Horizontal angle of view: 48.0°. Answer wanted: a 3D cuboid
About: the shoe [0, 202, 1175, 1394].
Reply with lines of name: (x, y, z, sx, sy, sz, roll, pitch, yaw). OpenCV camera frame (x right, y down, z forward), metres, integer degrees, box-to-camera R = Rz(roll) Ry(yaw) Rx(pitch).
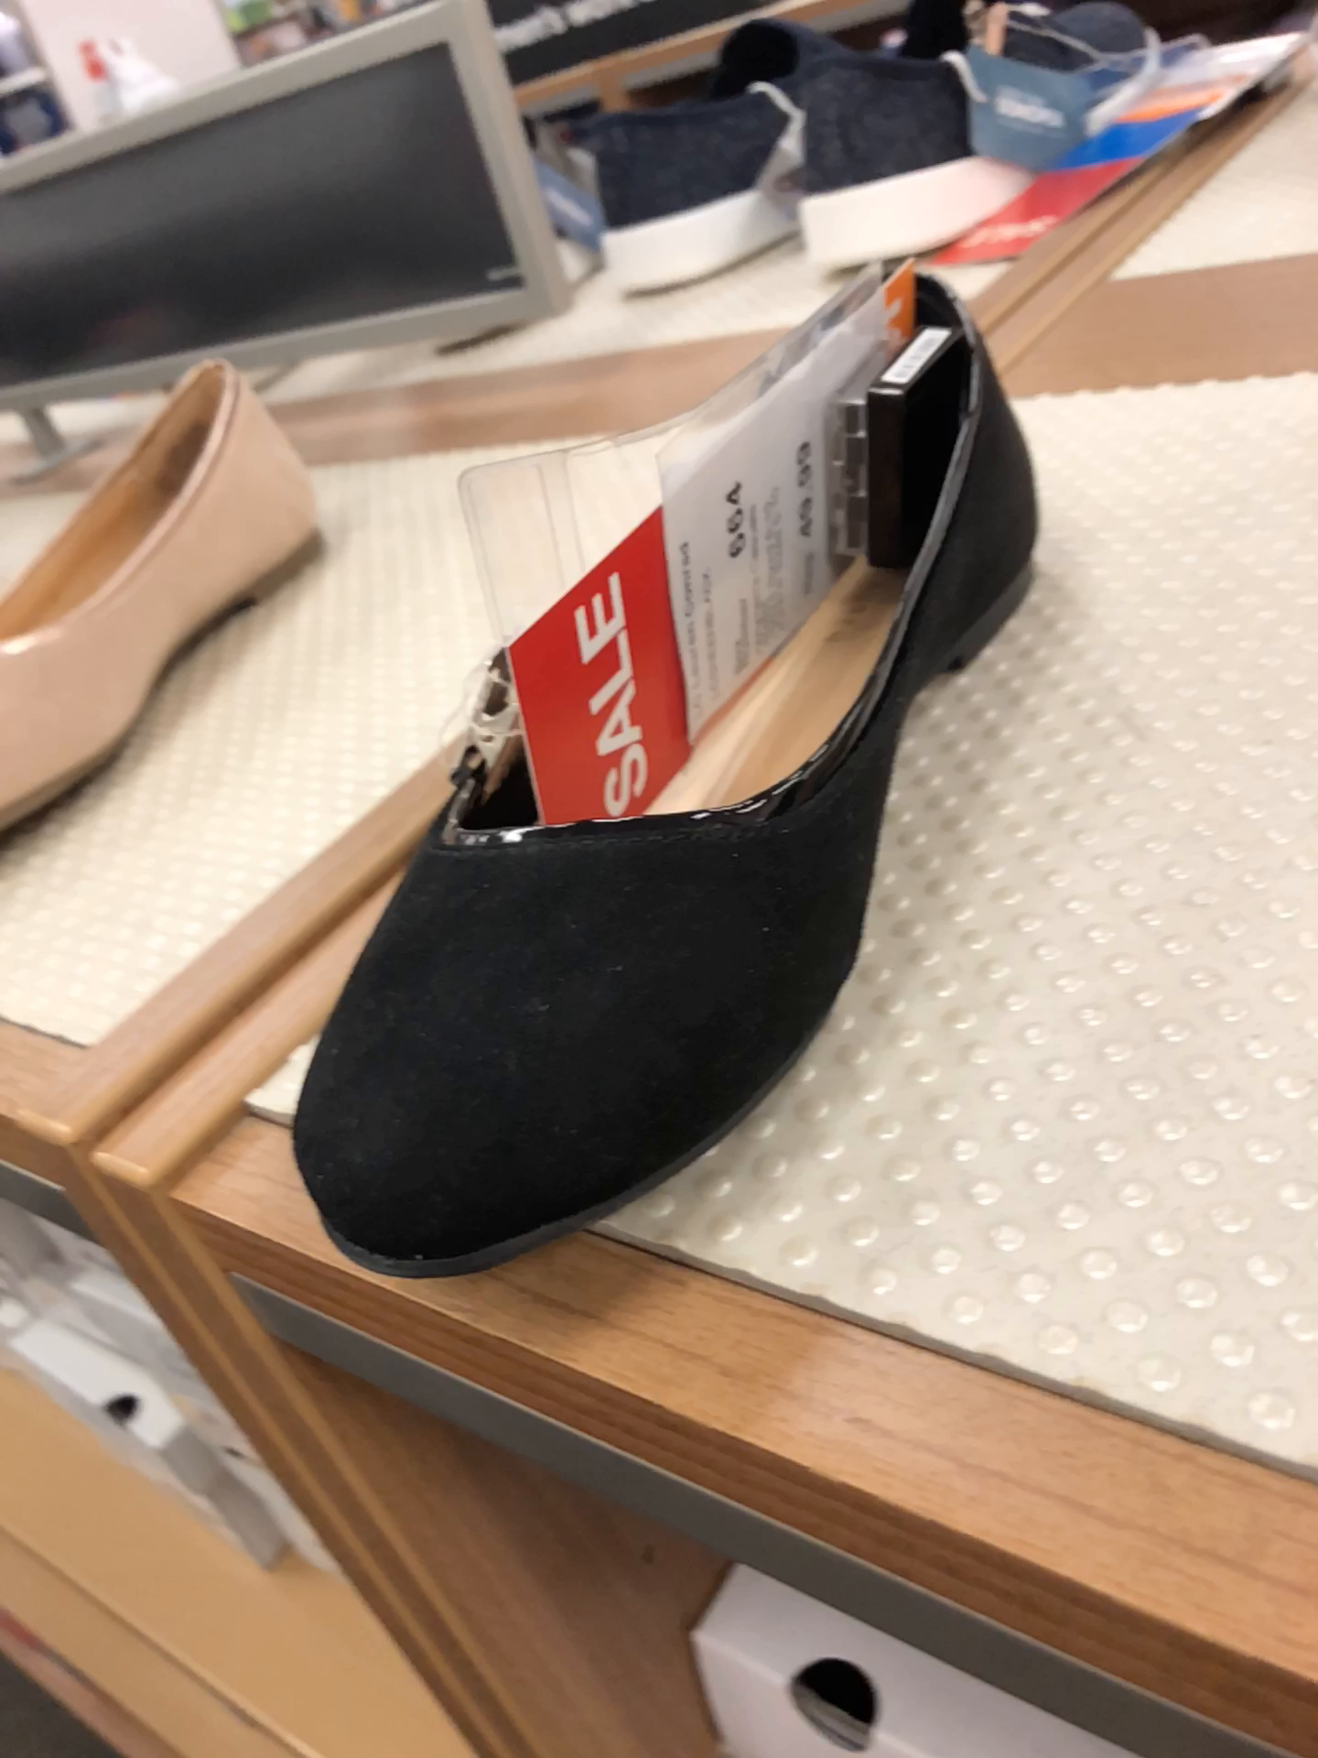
shoe: (0.013, -0.039, 0.257, 0.091, 0.064, 0.239, 2, 38, 33)
